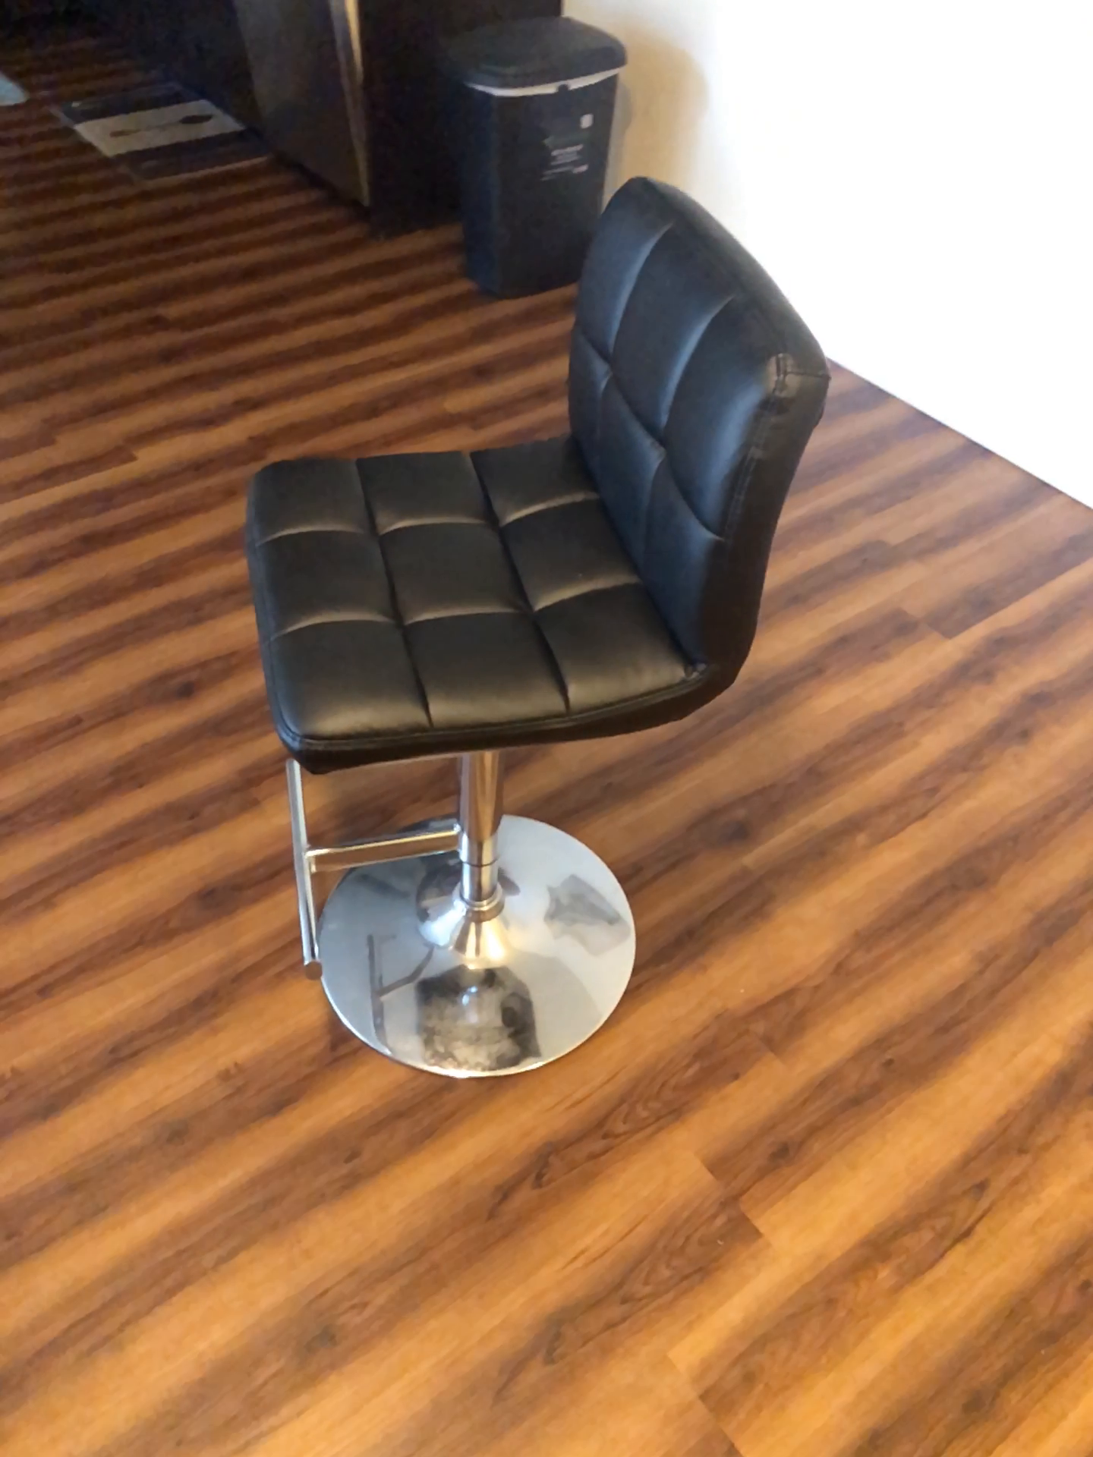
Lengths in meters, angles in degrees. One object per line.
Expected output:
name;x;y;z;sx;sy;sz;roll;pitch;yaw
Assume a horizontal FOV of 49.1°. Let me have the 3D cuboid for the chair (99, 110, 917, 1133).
chair;-0.085;-0.079;1.334;0.568;0.952;0.536;-7;45;-11
